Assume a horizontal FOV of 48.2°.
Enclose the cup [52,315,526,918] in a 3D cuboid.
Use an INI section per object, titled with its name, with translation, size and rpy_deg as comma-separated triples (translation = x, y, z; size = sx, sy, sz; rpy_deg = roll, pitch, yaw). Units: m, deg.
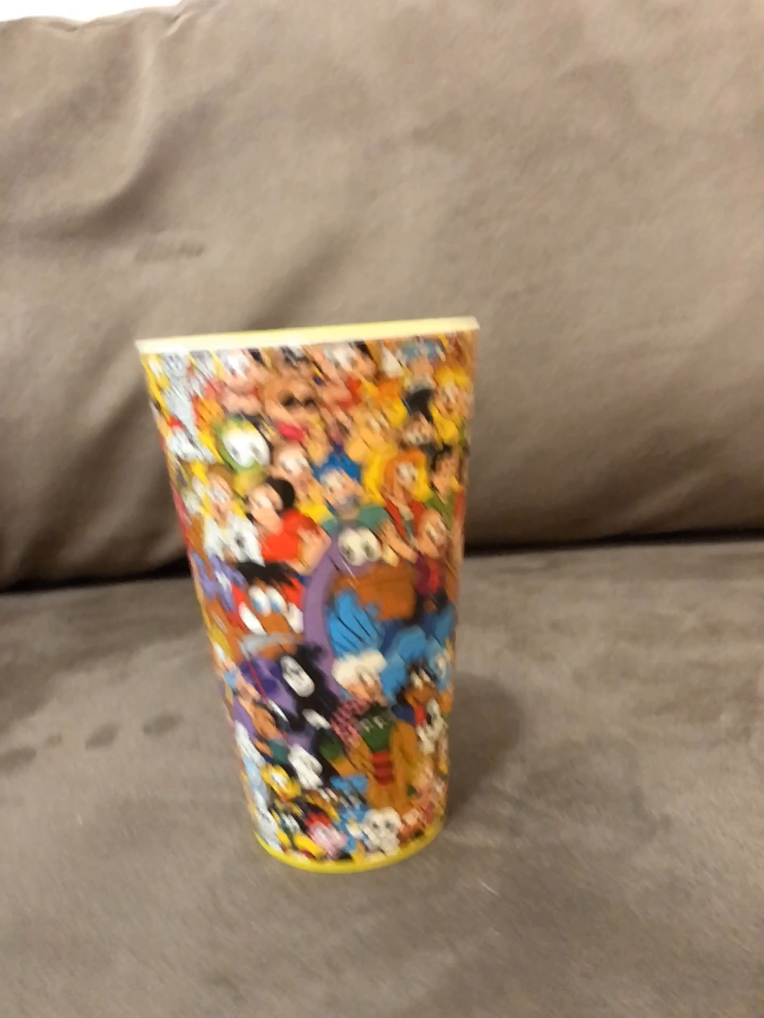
[cup]
translation = -0.021, 0.018, 0.255
size = 0.090, 0.140, 0.090
rpy_deg = -5, 11, 1
